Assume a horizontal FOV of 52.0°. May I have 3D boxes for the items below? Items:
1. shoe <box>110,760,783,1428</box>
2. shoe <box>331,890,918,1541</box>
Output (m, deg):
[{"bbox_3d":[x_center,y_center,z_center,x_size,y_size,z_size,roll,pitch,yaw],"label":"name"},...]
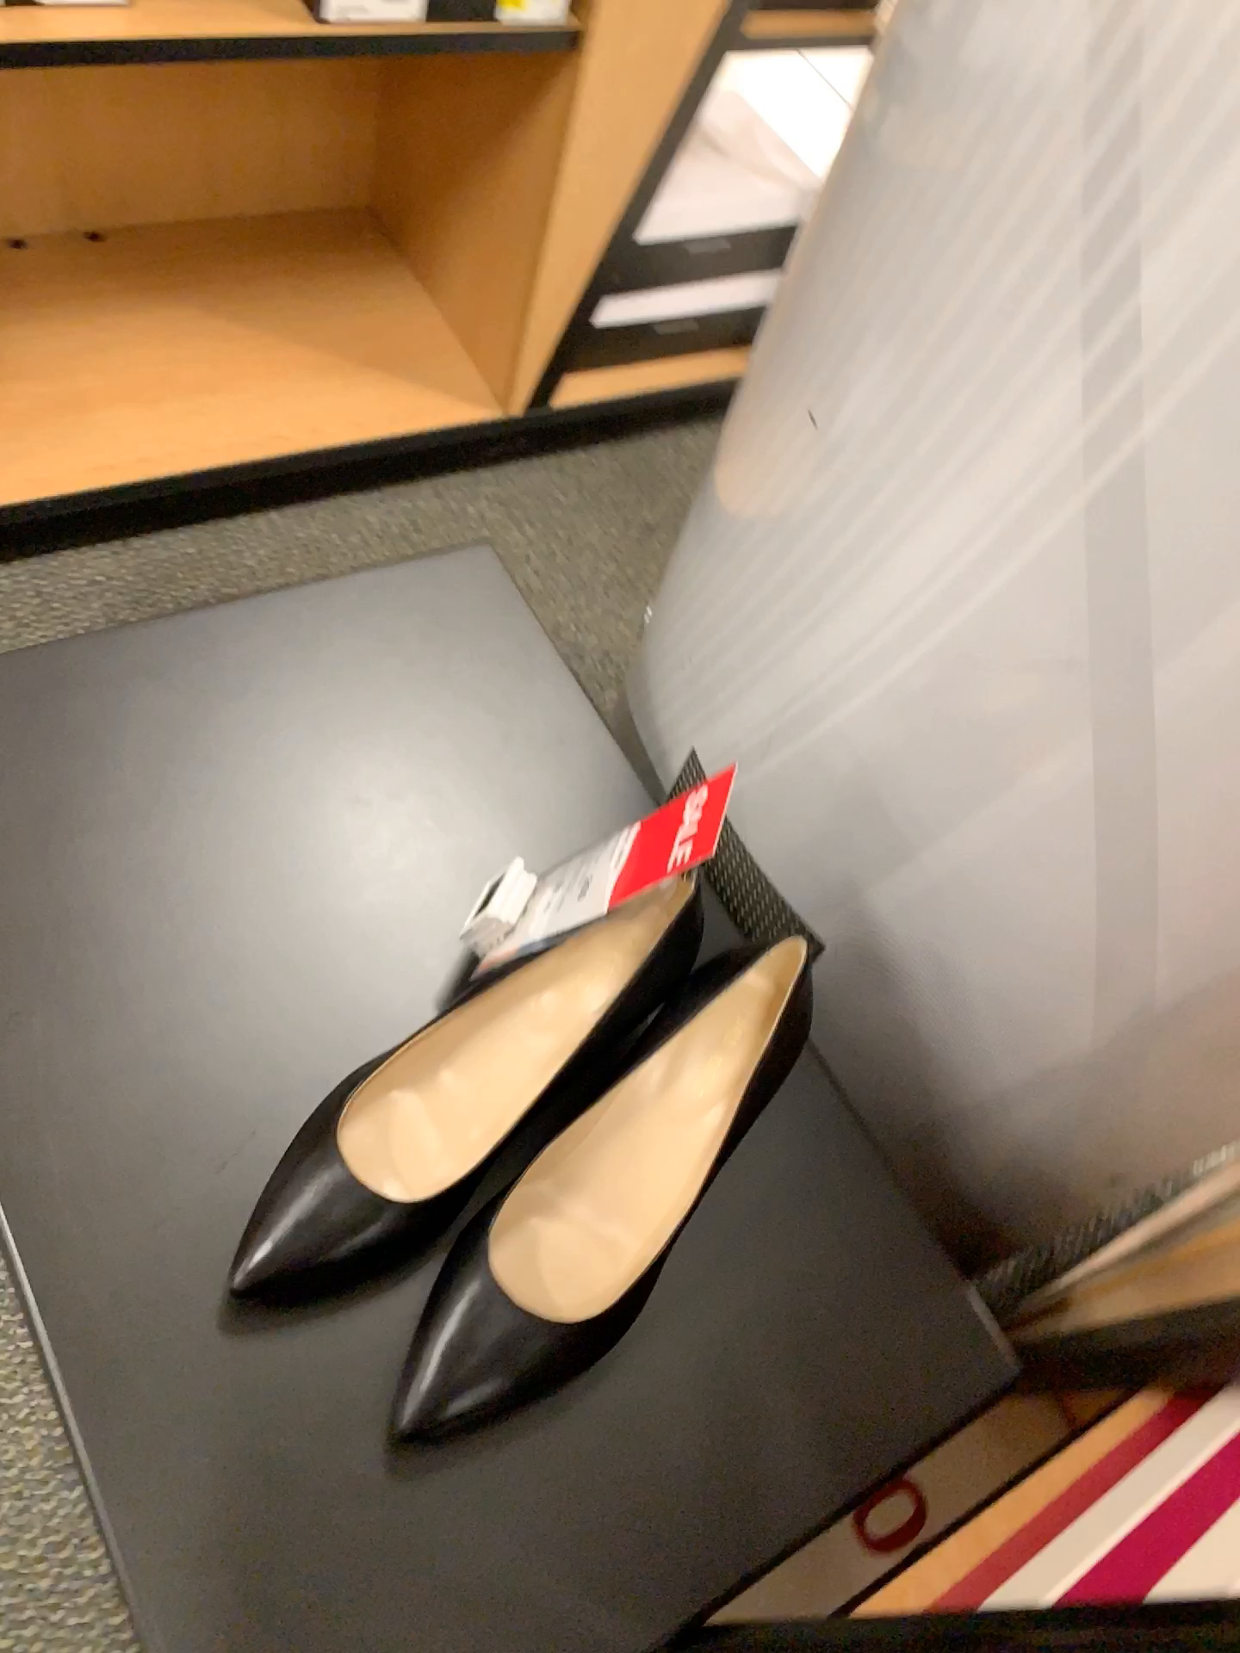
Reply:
[{"bbox_3d":[-0.074,0.117,0.559,0.251,0.189,0.100,-36,73,-32],"label":"shoe"},{"bbox_3d":[-0.002,0.182,0.596,0.100,0.189,0.251,40,56,11],"label":"shoe"}]
